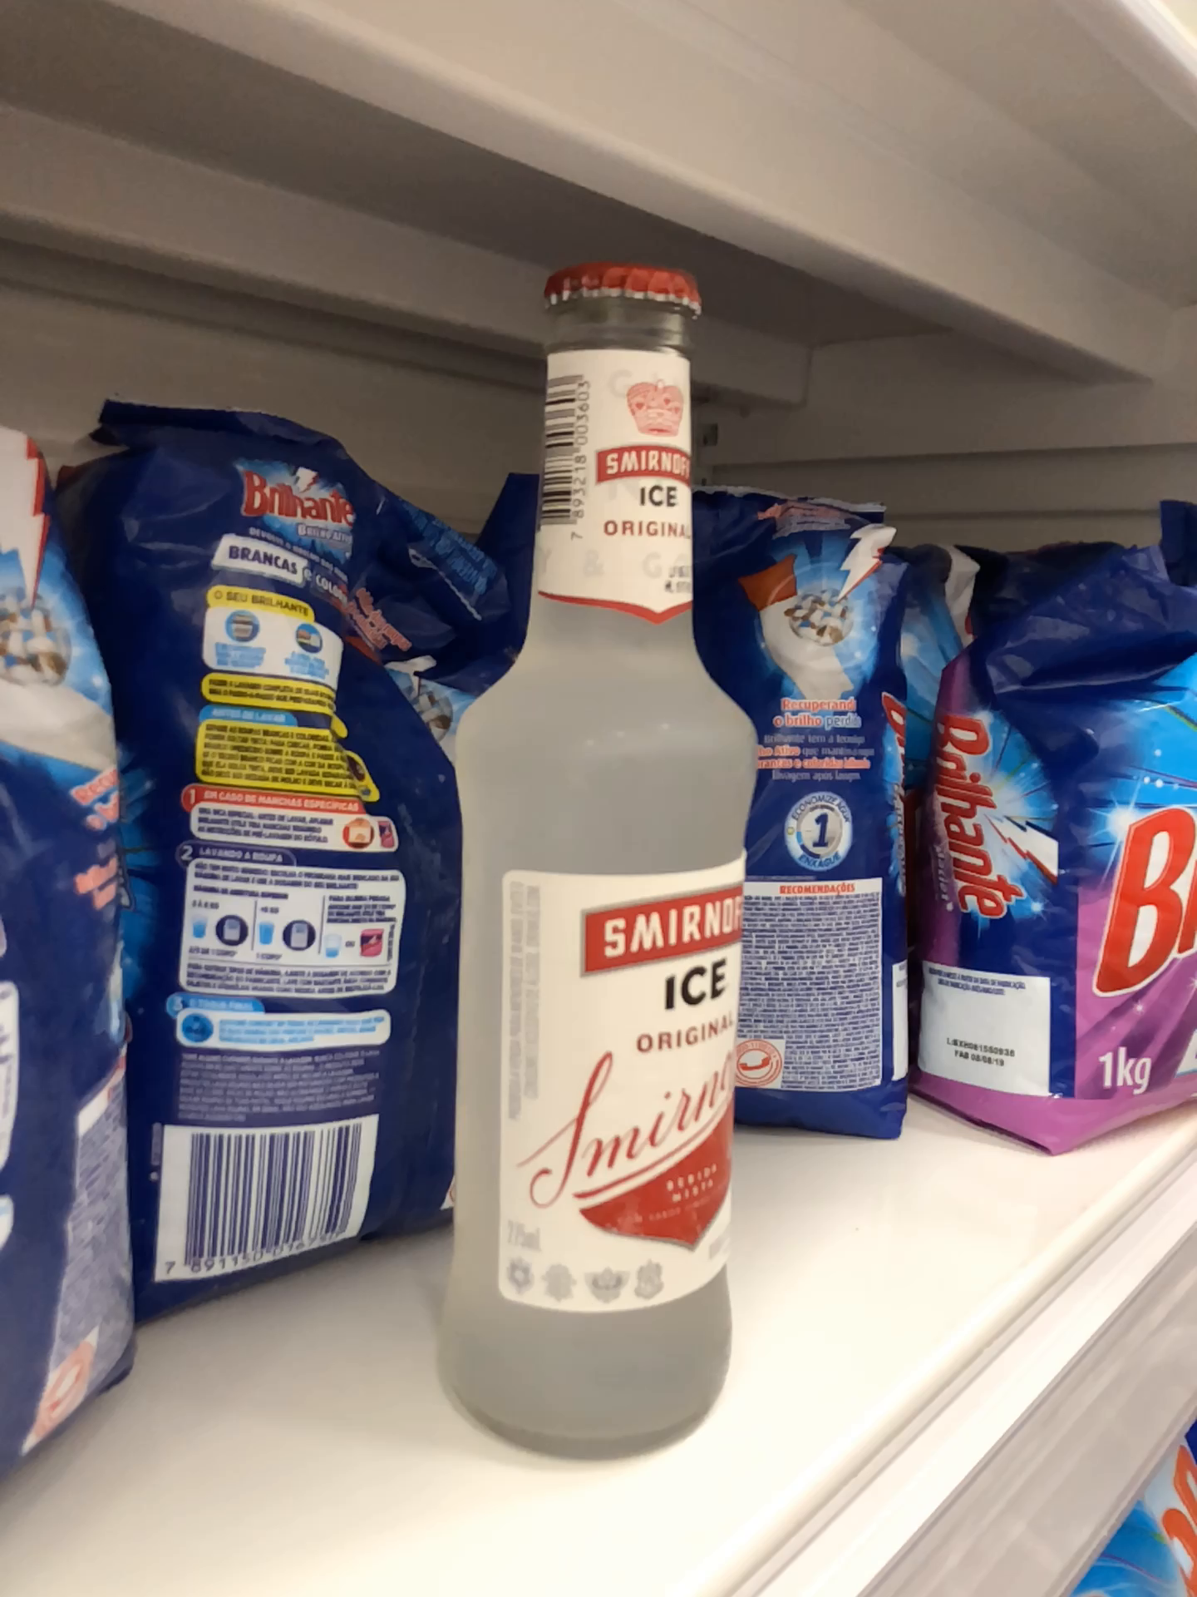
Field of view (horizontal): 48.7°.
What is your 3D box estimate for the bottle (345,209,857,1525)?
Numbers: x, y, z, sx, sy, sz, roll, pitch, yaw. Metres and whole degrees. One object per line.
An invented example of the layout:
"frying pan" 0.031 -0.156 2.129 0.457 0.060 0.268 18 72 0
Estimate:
"bottle" -0.002 0.011 0.252 0.070 0.209 0.060 -5 10 -40
